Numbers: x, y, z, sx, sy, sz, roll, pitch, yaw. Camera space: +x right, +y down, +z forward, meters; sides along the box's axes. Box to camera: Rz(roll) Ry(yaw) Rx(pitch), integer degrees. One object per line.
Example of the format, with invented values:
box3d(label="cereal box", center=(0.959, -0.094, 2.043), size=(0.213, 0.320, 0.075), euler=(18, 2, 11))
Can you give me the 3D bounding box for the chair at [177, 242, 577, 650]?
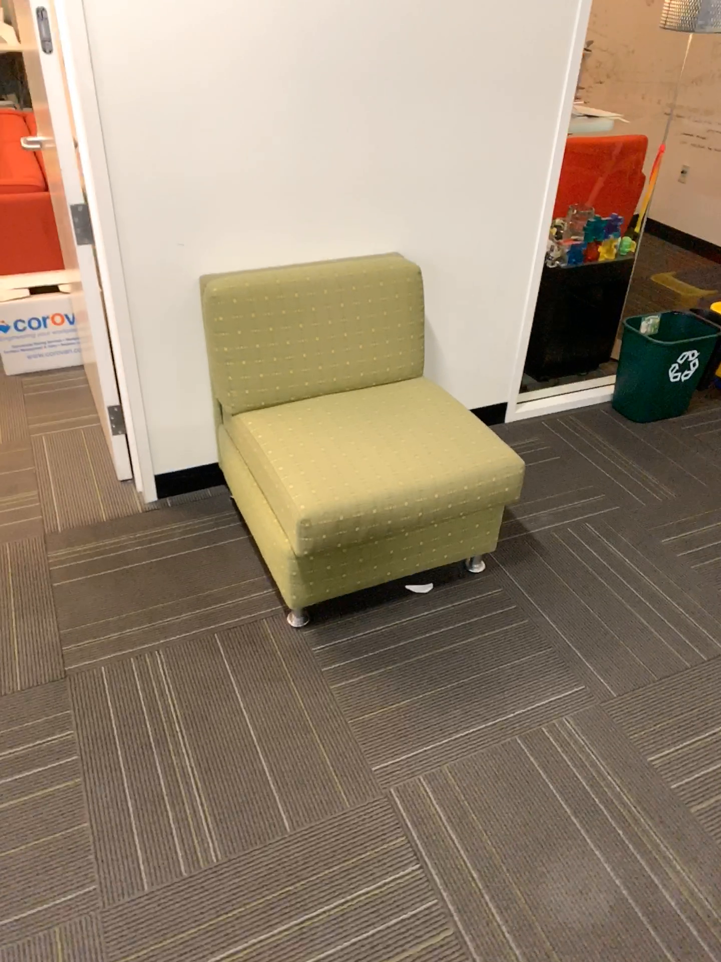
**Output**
box3d(label="chair", center=(-0.016, -0.156, 2.016), size=(0.730, 0.686, 0.785), euler=(-13, 39, -21))
